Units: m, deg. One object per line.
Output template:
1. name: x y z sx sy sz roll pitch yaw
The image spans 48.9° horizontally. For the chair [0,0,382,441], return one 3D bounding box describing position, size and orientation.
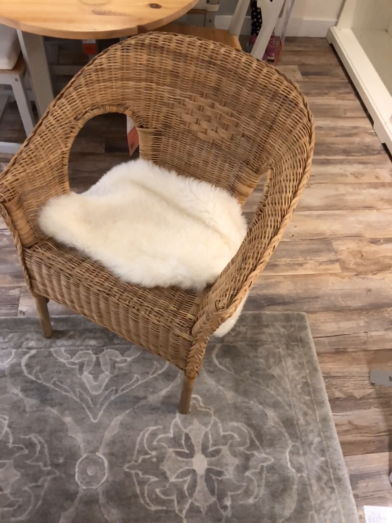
1. chair: -0.066 -0.082 1.120 0.650 0.718 0.631 27 56 13
